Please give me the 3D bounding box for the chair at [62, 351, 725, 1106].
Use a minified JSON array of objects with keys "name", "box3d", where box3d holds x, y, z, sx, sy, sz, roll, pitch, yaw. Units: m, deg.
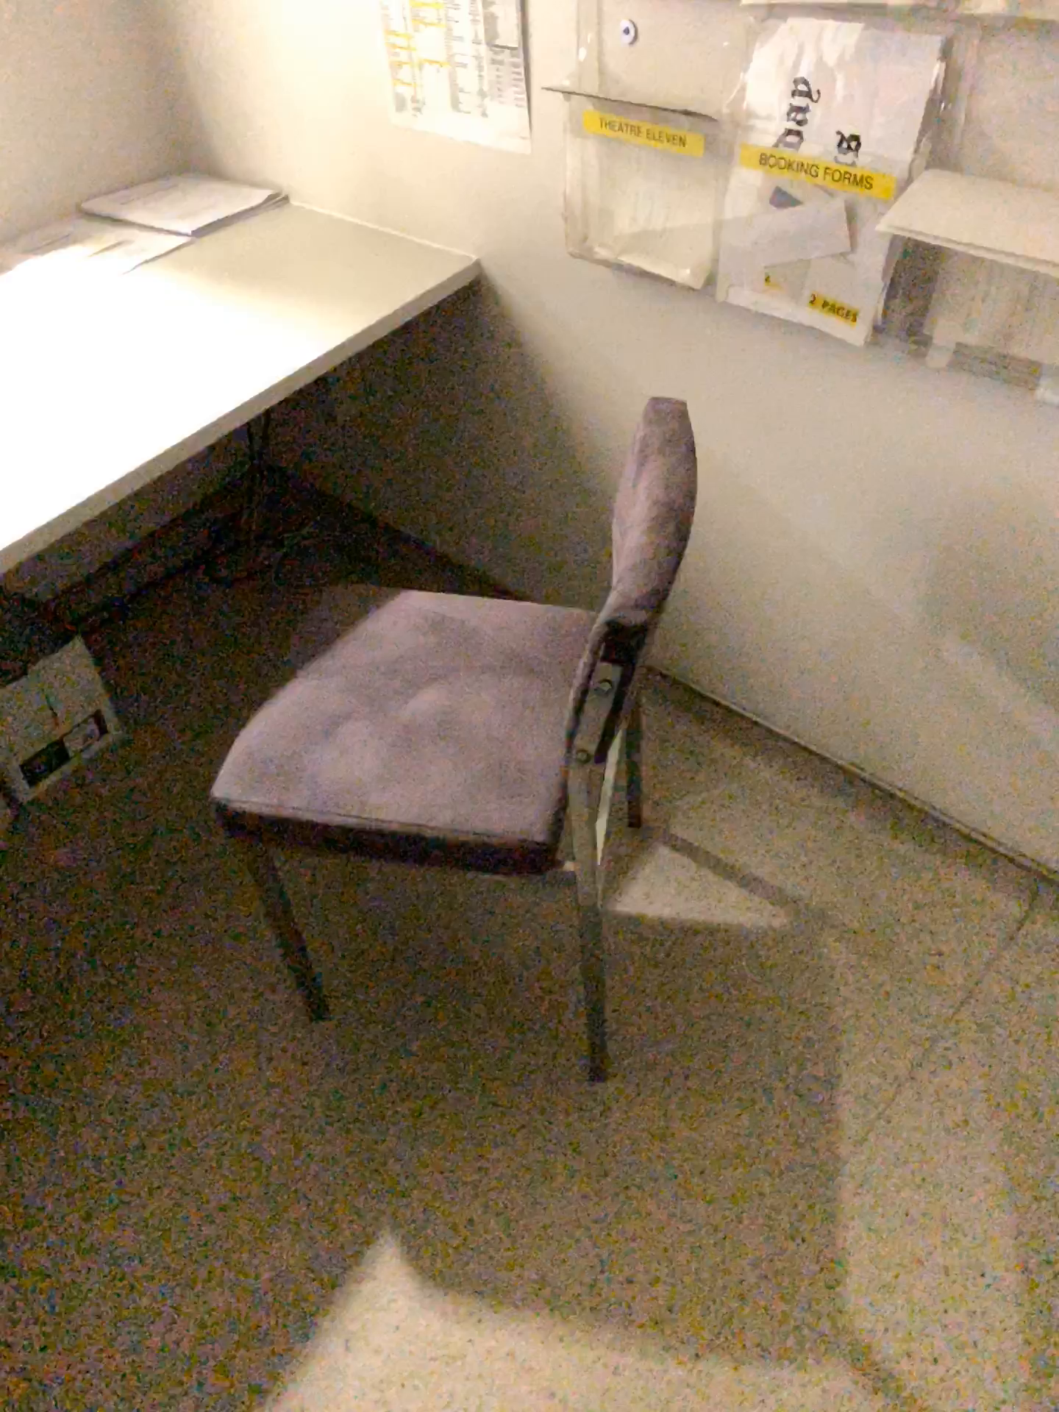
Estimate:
[{"name":"chair","box3d":[-0.069,0.018,1.315,0.540,0.693,0.545,5,42,11]}]
